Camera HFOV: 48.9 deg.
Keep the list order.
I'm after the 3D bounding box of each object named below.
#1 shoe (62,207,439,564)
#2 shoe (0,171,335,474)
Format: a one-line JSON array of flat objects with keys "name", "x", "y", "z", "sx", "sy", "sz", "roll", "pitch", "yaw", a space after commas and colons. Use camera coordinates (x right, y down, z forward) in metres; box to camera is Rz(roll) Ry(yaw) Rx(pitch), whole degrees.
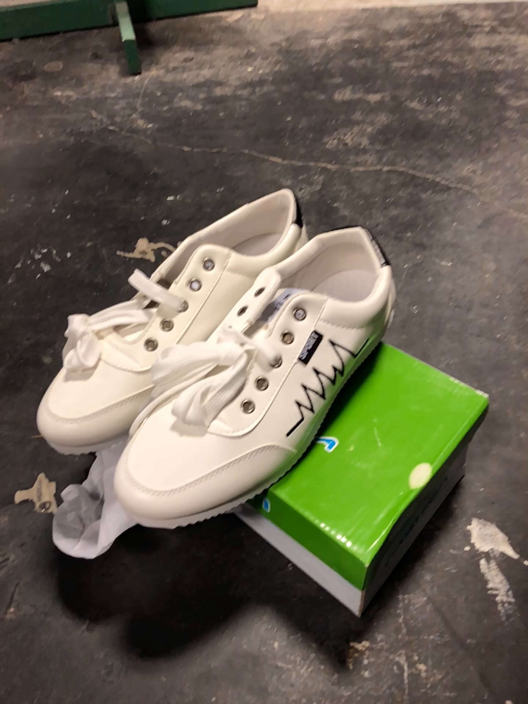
[{"name": "shoe", "x": 0.010, "y": 0.004, "z": 0.422, "sx": 0.090, "sy": 0.079, "sz": 0.281, "roll": 28, "pitch": 54, "yaw": 35}, {"name": "shoe", "x": -0.067, "y": -0.041, "z": 0.468, "sx": 0.090, "sy": 0.079, "sz": 0.281, "roll": 28, "pitch": 54, "yaw": 35}]
